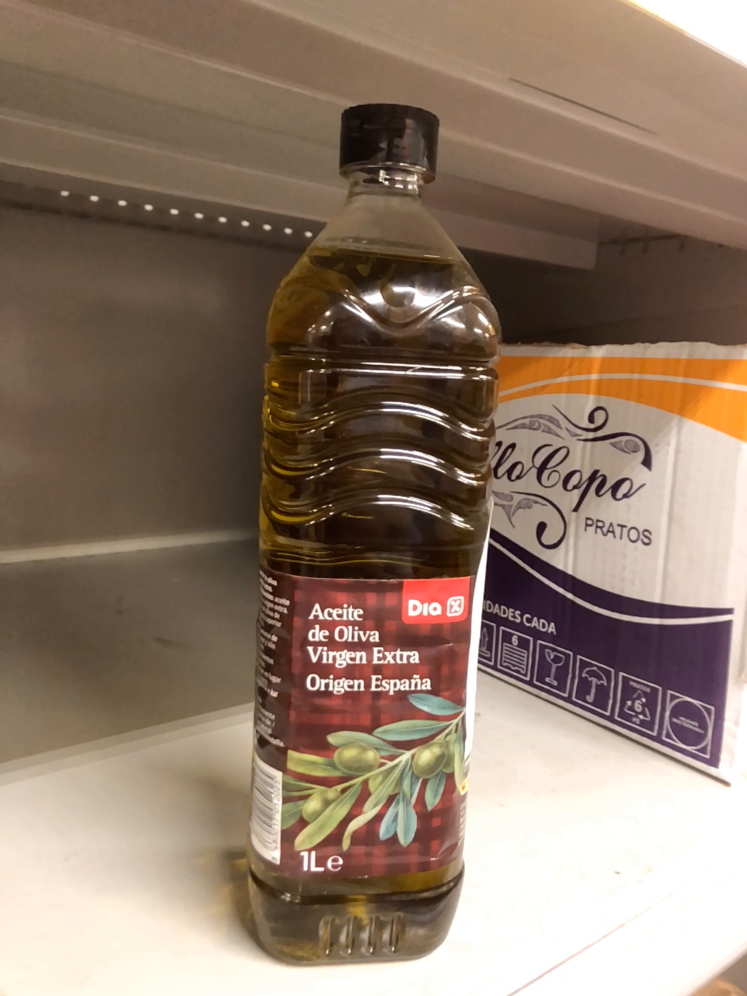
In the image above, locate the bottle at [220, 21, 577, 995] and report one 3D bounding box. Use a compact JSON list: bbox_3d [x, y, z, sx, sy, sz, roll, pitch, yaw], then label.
[{"bbox_3d":[-0.002,0.011,0.276,0.080,0.279,0.070,3,9,-12],"label":"bottle"}]
